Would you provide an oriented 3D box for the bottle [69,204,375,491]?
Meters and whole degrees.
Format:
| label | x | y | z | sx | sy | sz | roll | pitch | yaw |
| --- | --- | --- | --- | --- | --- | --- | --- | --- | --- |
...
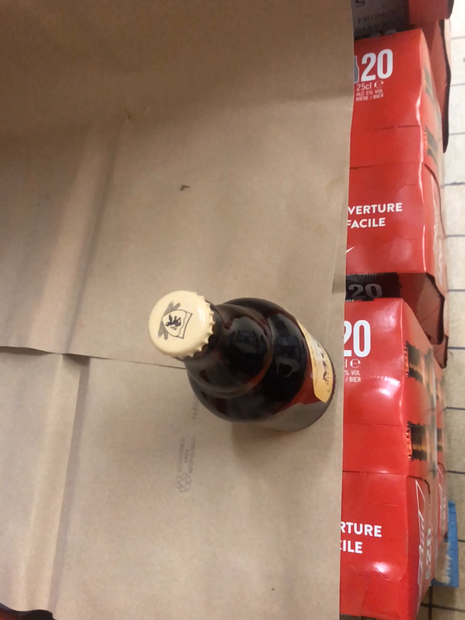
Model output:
| label | x | y | z | sx | sy | sz | roll | pitch | yaw |
| --- | --- | --- | --- | --- | --- | --- | --- | --- | --- |
| bottle | 0.011 | 0.030 | 0.275 | 0.080 | 0.167 | 0.080 | -5 | 75 | 19 |
